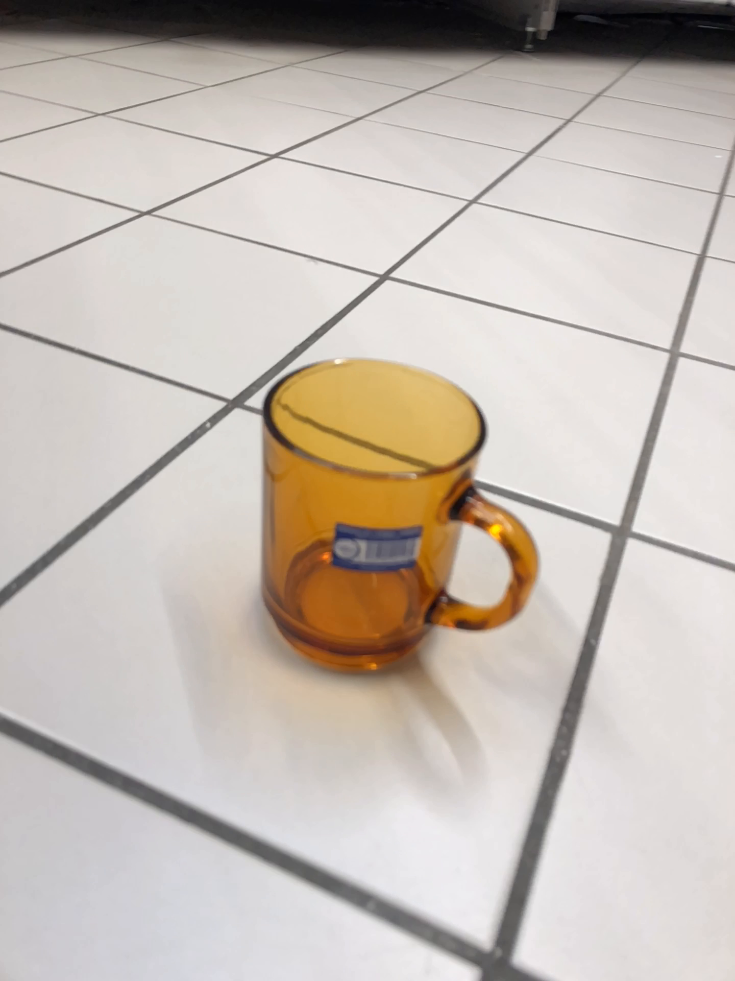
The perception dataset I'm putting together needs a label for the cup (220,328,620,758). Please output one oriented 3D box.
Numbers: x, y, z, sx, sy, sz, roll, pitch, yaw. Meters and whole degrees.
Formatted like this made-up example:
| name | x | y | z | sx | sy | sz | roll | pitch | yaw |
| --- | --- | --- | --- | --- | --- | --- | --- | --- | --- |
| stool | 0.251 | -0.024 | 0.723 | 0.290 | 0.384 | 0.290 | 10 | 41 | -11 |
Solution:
| name | x | y | z | sx | sy | sz | roll | pitch | yaw |
| --- | --- | --- | --- | --- | --- | --- | --- | --- | --- |
| cup | 0.012 | 0.011 | 0.266 | 0.096 | 0.082 | 0.075 | 33 | 44 | 31 |
